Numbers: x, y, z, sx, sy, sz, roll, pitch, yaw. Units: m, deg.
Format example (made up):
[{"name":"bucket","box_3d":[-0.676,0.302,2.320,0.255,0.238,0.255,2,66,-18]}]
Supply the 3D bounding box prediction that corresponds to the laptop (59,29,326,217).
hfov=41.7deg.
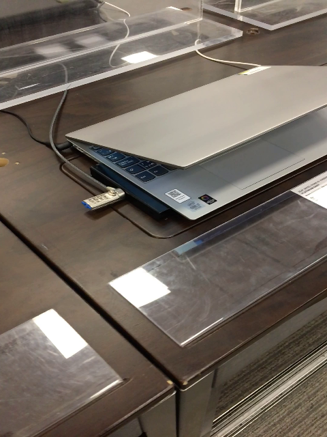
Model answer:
[{"name":"laptop","box_3d":[0.099,-0.151,0.598,0.351,0.074,0.232,-28,53,-21]}]
